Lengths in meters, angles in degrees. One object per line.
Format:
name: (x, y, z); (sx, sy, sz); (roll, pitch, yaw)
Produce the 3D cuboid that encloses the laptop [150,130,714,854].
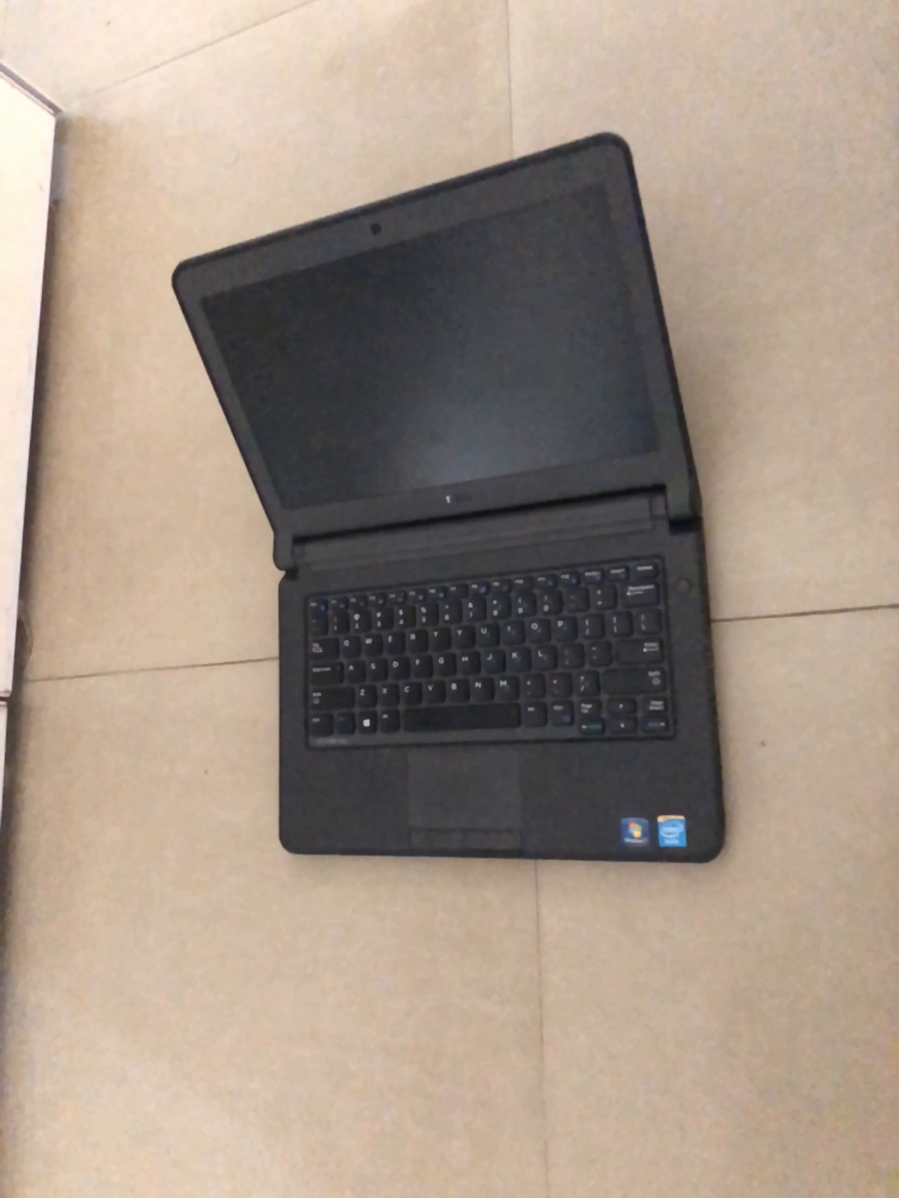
laptop: (-0.014, -0.040, 0.645); (0.313, 0.154, 0.392); (-7, 78, 25)
